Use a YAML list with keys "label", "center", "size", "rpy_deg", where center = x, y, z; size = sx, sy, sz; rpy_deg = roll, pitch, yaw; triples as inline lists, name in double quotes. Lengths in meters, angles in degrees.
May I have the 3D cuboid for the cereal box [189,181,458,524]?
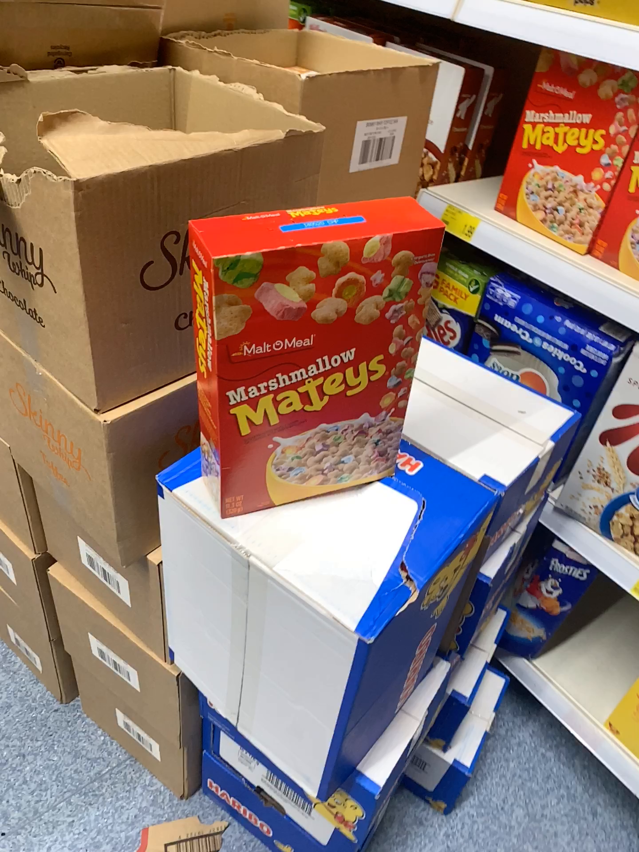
- label: "cereal box"
  center: [-0.006, -0.055, 0.584]
  size: [0.190, 0.287, 0.071]
  rpy_deg: [-12, 44, -19]
